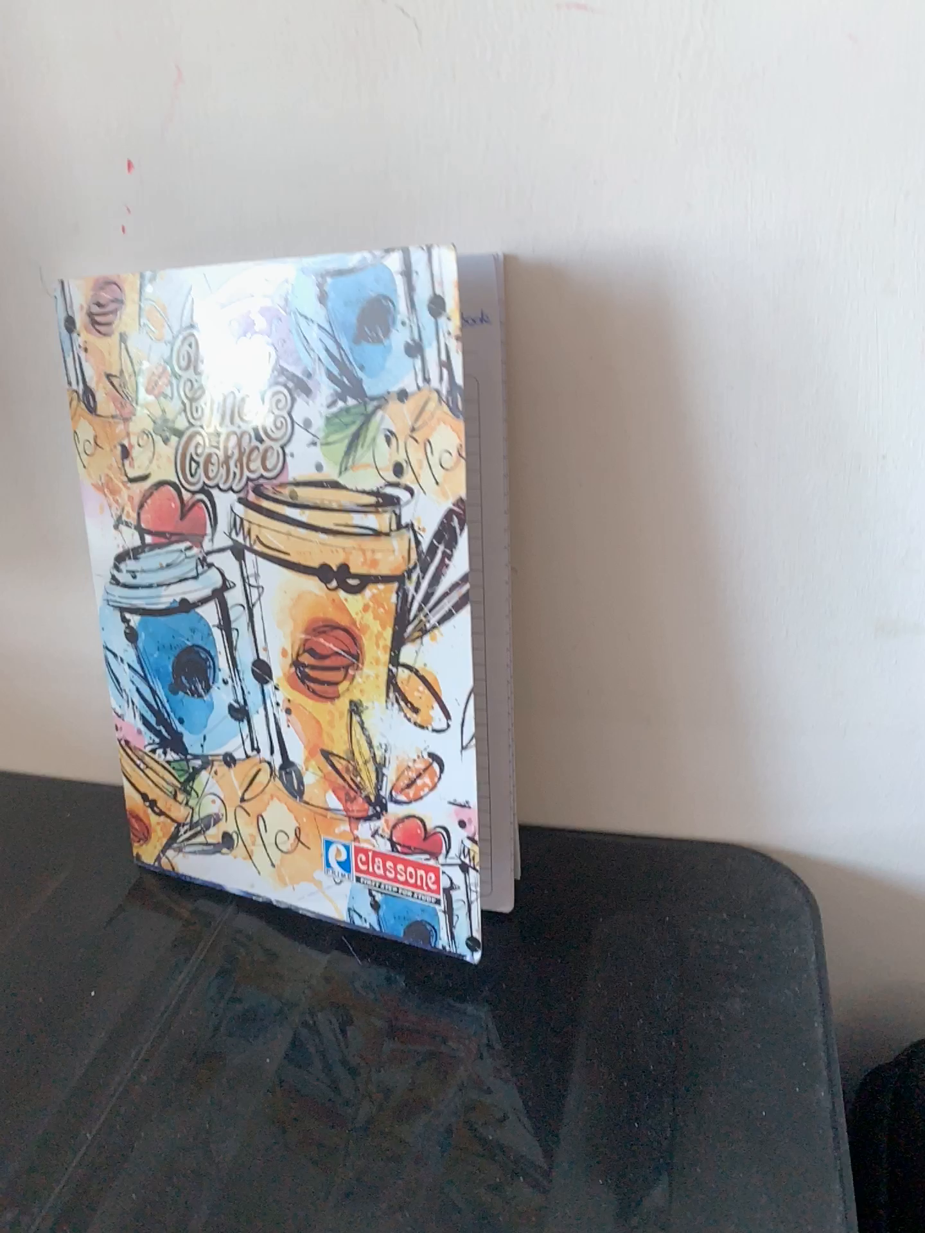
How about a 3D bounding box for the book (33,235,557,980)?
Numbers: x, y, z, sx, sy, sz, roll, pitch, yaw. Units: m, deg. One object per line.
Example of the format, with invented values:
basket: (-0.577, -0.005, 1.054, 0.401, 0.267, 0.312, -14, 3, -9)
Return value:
book: (-0.071, -0.006, 0.432, 0.220, 0.299, 0.050, 6, 18, 23)
